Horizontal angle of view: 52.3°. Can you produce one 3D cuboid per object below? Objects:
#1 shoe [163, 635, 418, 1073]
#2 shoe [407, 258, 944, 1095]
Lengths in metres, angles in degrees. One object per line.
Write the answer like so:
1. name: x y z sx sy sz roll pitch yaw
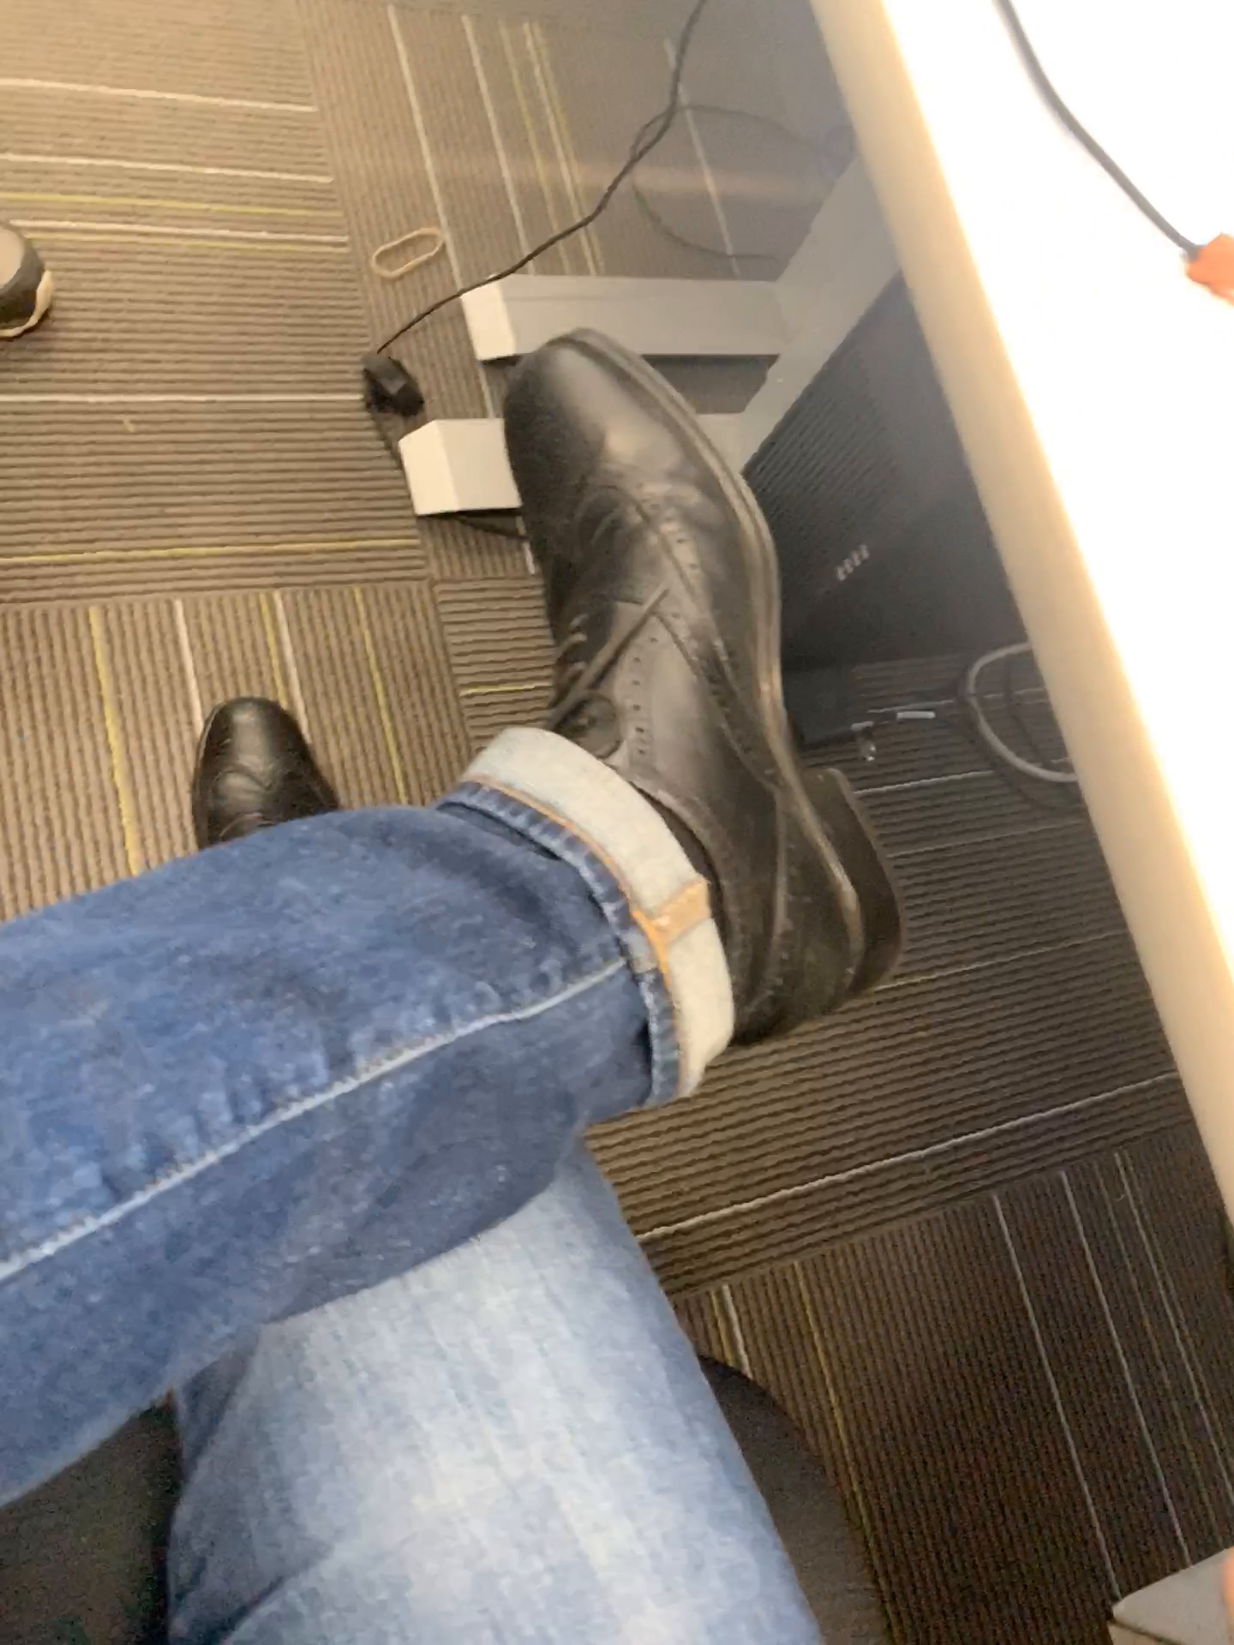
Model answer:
1. shoe: -0.233 0.021 0.877 0.112 0.104 0.274 -10 77 -23
2. shoe: 0.010 -0.051 0.465 0.091 0.111 0.274 -9 77 -26
